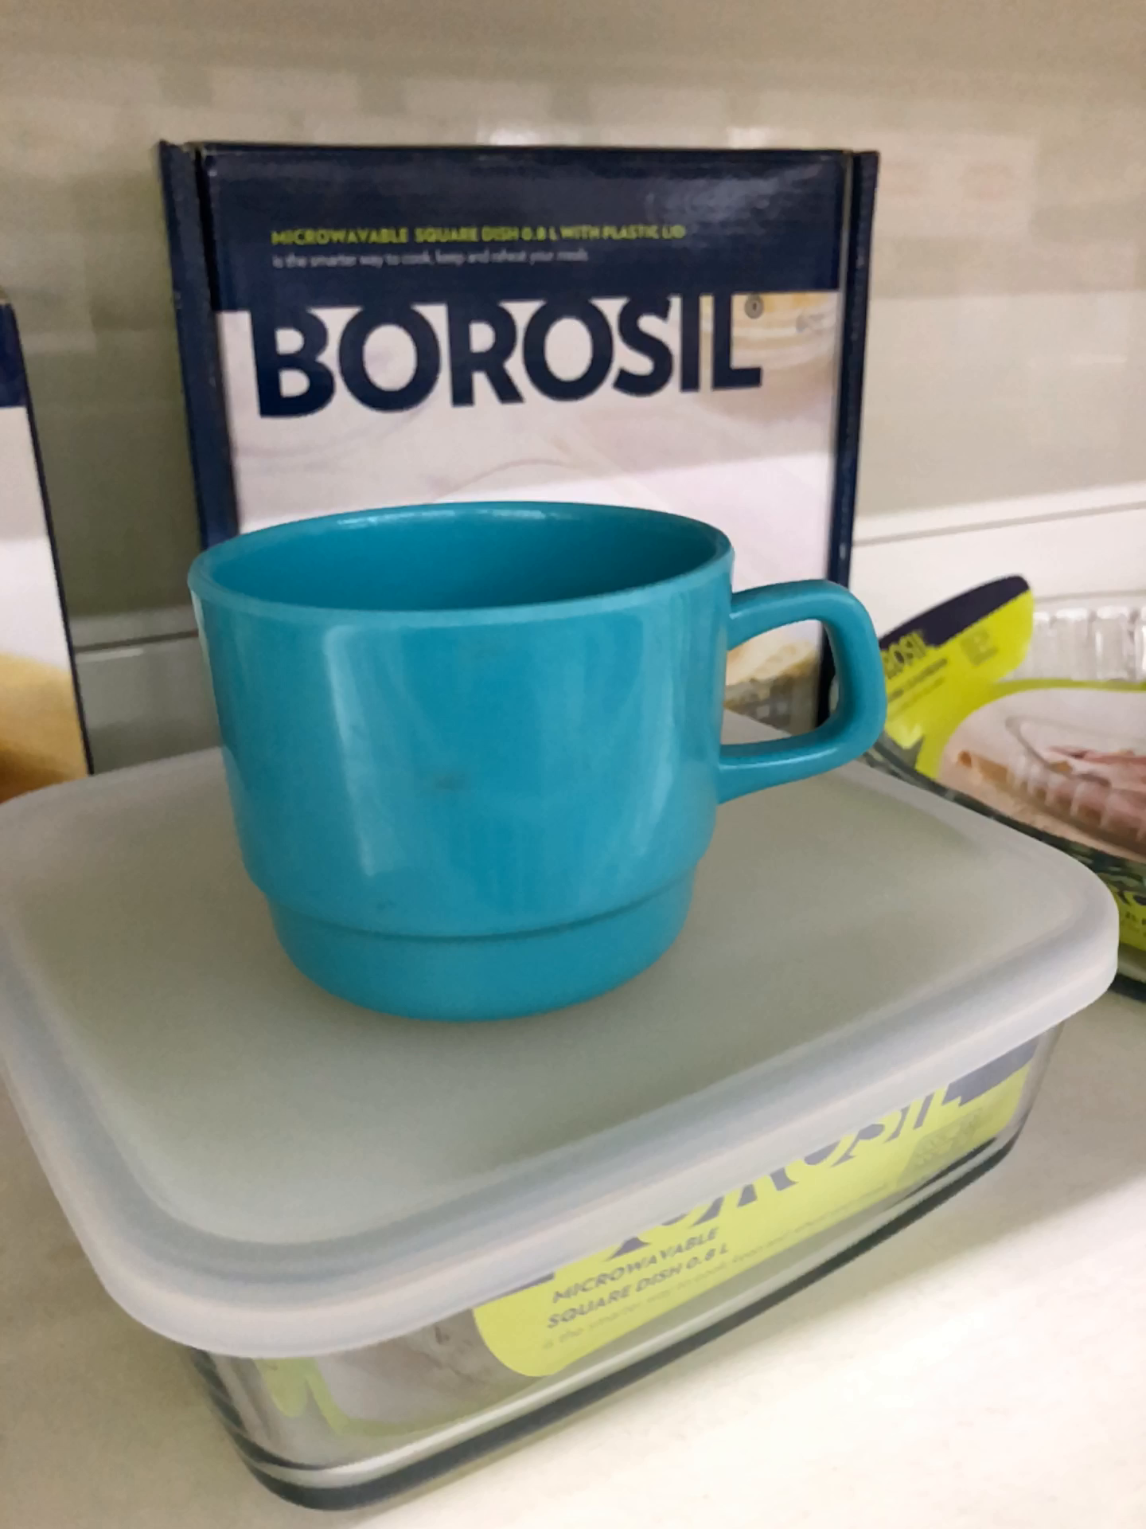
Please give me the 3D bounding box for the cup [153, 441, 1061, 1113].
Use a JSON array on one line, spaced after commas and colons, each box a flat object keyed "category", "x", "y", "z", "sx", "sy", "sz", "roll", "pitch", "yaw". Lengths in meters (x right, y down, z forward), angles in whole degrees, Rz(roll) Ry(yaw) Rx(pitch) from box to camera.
[{"category": "cup", "x": -0.001, "y": -0.010, "z": 0.217, "sx": 0.120, "sy": 0.070, "sz": 0.090, "roll": -9, "pitch": 22, "yaw": -19}]
